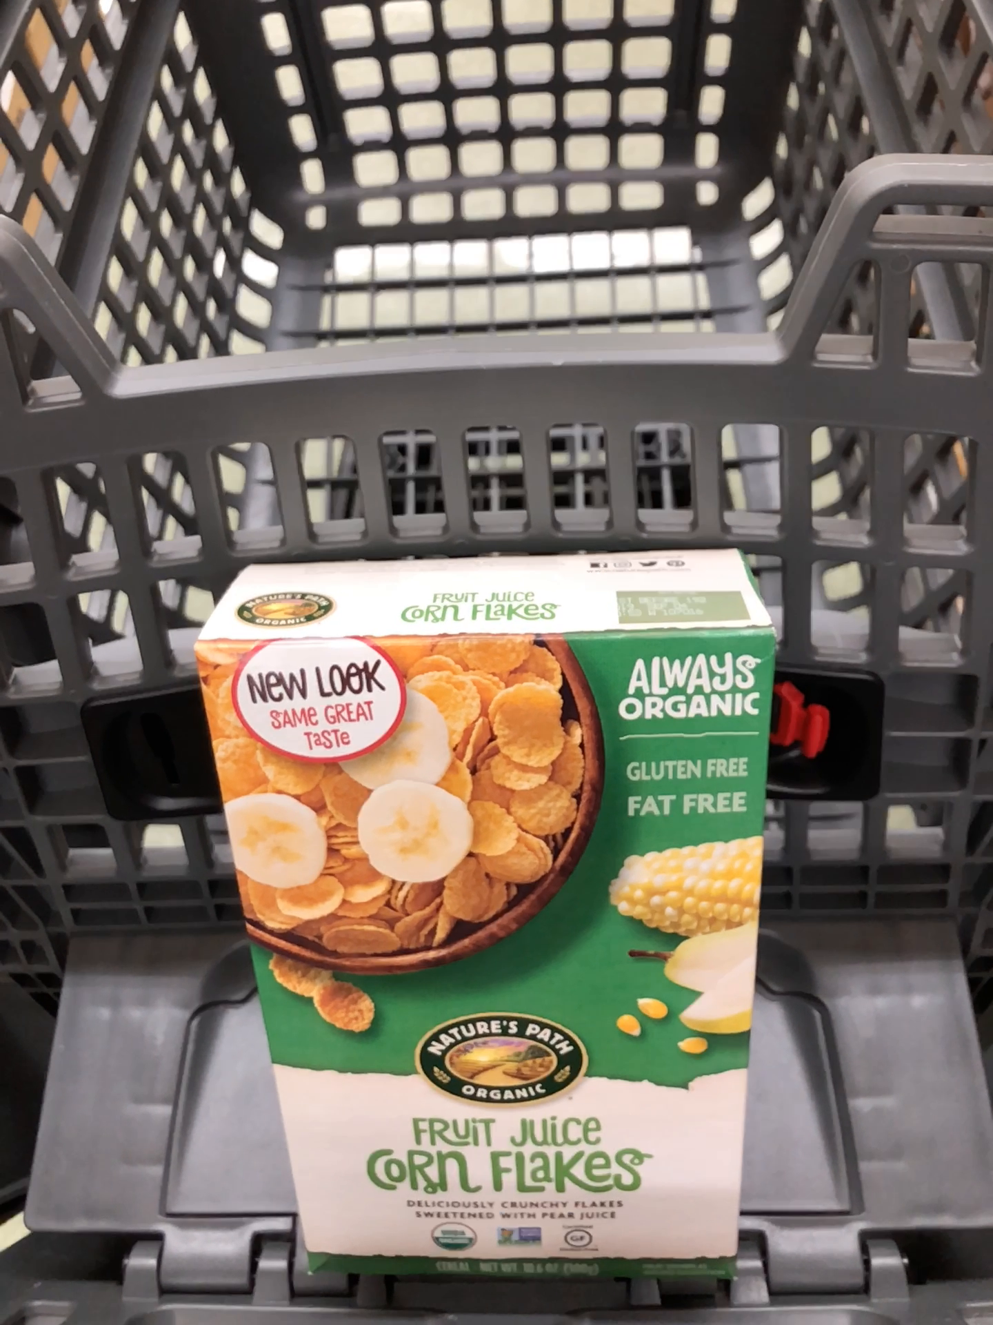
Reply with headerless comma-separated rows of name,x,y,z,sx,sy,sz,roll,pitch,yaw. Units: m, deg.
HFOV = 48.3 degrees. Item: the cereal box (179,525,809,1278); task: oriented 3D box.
cereal box,0.005,0.081,0.344,0.150,0.230,0.070,-1,25,4
